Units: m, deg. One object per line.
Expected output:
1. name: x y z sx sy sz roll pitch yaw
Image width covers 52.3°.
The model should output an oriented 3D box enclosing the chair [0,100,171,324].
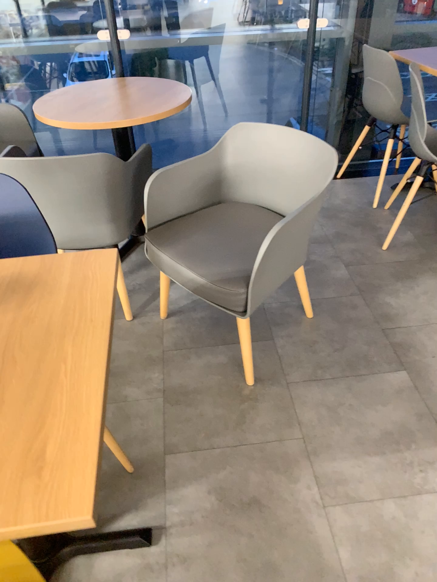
1. chair: -0.528 -0.323 1.833 0.513 0.725 0.545 1 38 4

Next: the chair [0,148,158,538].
1. chair: -0.514 0.128 1.188 0.474 0.784 0.513 -17 40 -18

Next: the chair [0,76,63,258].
1. chair: -1.223 -0.620 2.241 0.580 0.725 0.488 -3 38 0

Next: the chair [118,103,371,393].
1. chair: 0.093 -0.188 1.616 0.546 0.734 0.583 30 47 35
